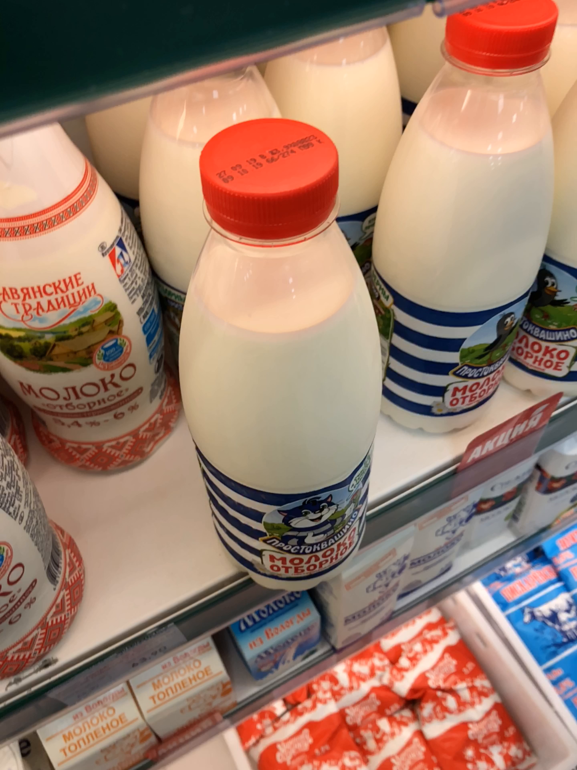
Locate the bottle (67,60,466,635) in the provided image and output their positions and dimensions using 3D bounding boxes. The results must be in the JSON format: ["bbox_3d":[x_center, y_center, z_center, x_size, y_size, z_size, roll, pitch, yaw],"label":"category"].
[{"bbox_3d":[-0.005,0.009,0.263,0.090,0.228,0.080,-16,51,-10],"label":"bottle"}]
